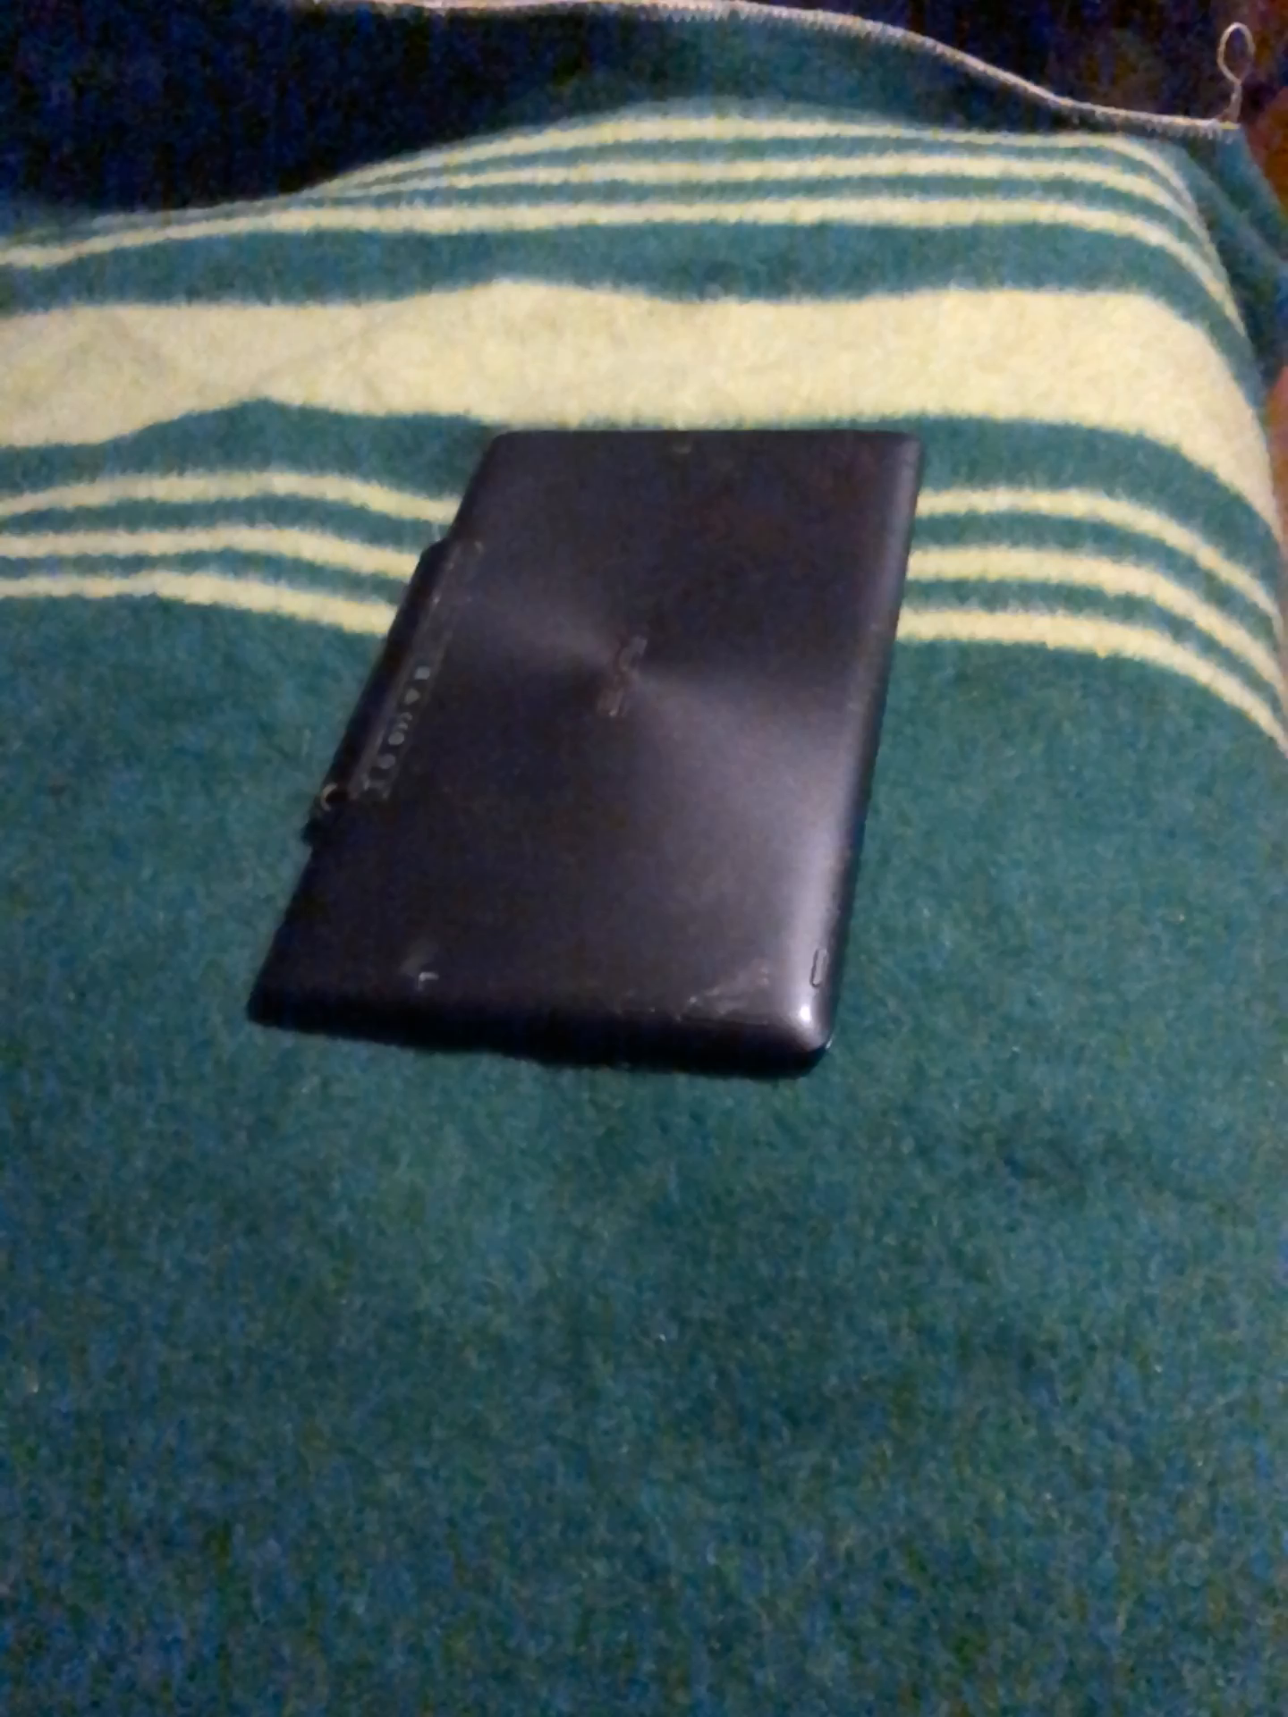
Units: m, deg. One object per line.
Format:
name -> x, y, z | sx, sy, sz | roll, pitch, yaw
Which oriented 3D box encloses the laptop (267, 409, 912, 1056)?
laptop -> -0.005, -0.063, 0.480 | 0.167, 0.017, 0.263 | 4, 54, 14
